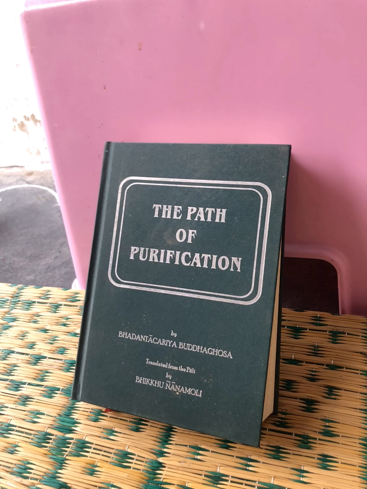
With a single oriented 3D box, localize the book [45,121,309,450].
[{"bbox_3d":[0.002,0.020,0.325,0.160,0.080,0.210,6,81,22],"label":"book"}]
